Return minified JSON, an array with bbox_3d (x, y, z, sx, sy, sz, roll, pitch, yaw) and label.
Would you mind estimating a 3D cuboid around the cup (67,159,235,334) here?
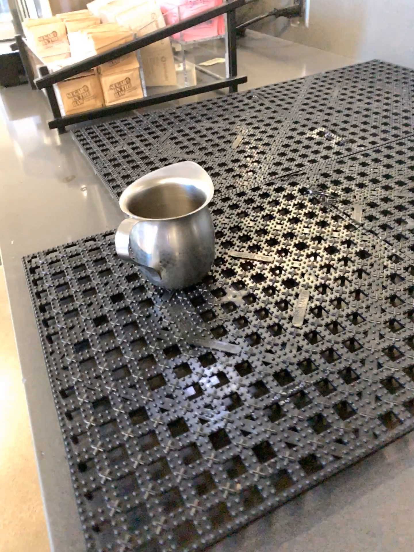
[{"bbox_3d":[-0.033,-0.028,0.320,0.070,0.070,0.110,13,43,21],"label":"cup"}]
